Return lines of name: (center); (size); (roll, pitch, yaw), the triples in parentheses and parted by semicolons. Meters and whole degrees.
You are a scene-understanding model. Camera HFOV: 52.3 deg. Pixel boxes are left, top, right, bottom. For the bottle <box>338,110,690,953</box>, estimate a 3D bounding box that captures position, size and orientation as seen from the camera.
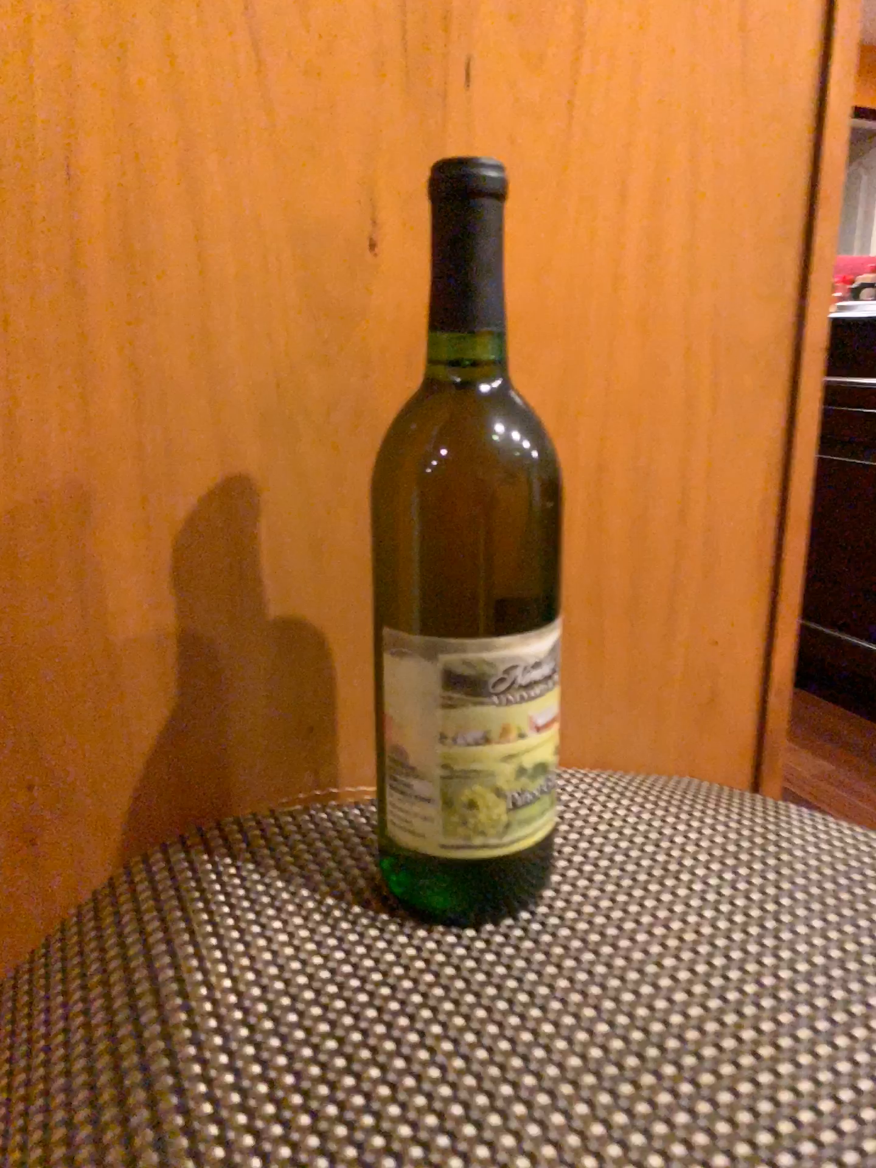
bottle: (0.026, -0.016, 0.338); (0.090, 0.269, 0.080); (-13, 19, -41)
